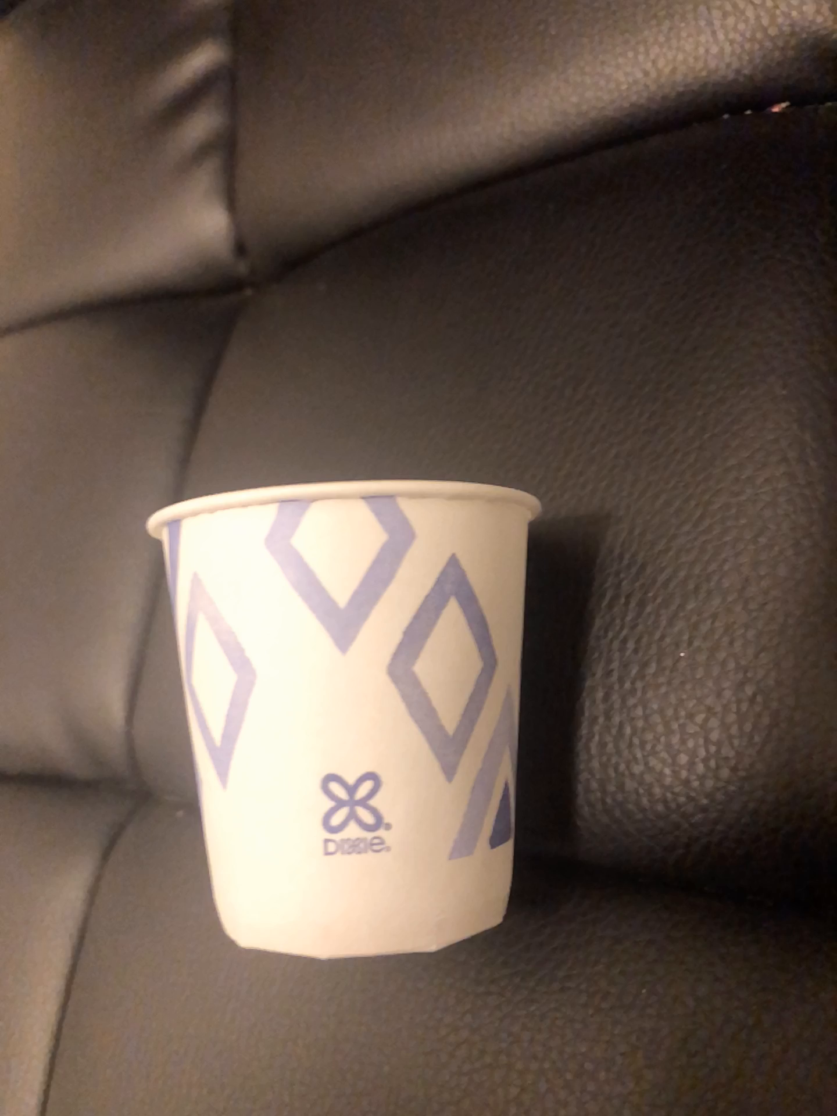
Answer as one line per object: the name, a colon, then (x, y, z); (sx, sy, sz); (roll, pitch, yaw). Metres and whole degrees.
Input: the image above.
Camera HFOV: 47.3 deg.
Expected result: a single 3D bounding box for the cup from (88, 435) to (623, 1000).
cup: (-0.009, 0.019, 0.134); (0.052, 0.049, 0.058); (-6, 85, 38)
